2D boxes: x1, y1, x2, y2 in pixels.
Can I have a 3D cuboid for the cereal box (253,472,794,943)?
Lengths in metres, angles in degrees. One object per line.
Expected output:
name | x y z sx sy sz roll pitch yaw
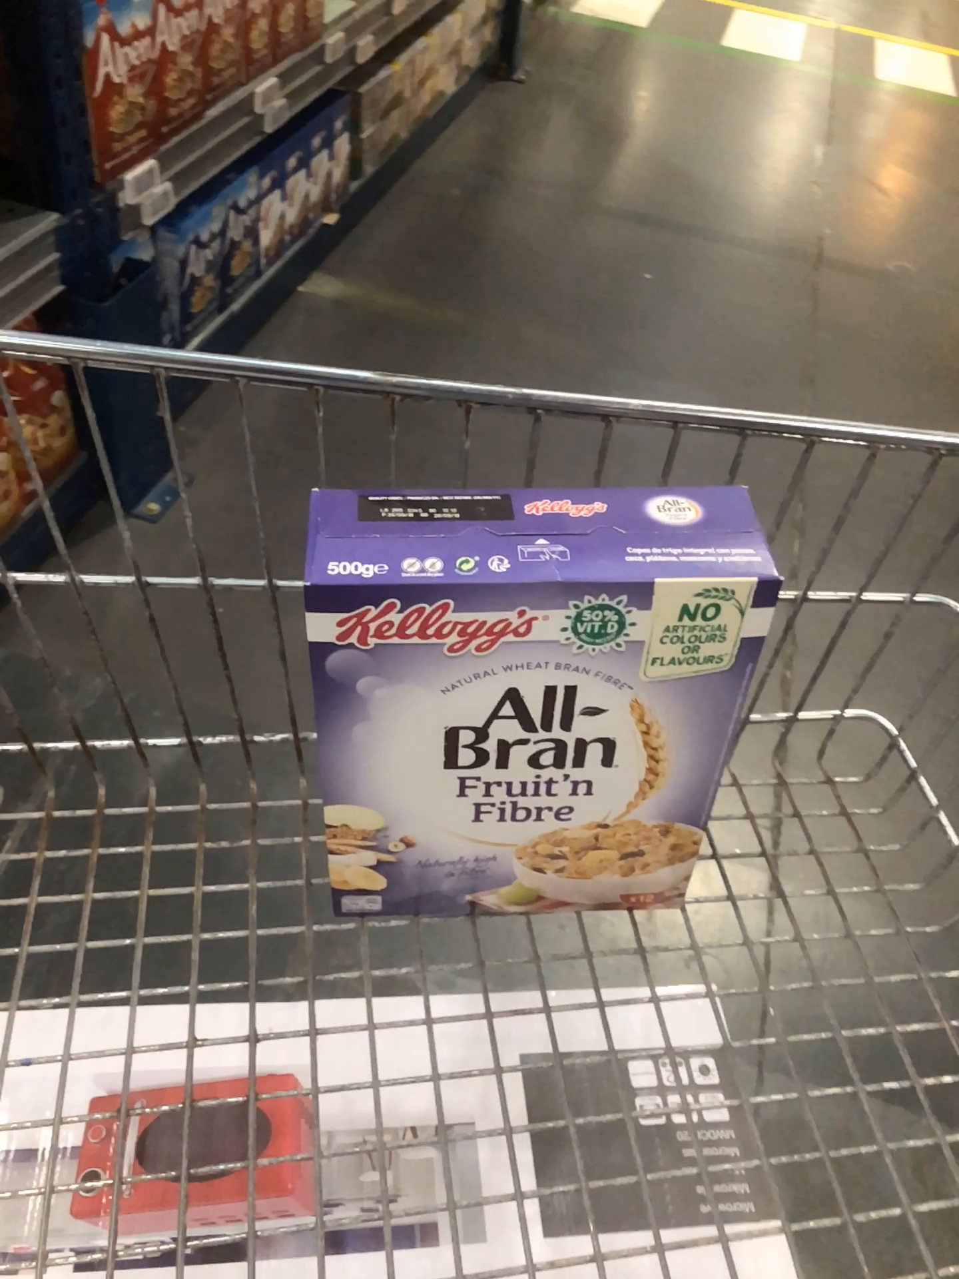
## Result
cereal box | 0.010 0.041 0.475 0.190 0.229 0.070 -2 45 -5
